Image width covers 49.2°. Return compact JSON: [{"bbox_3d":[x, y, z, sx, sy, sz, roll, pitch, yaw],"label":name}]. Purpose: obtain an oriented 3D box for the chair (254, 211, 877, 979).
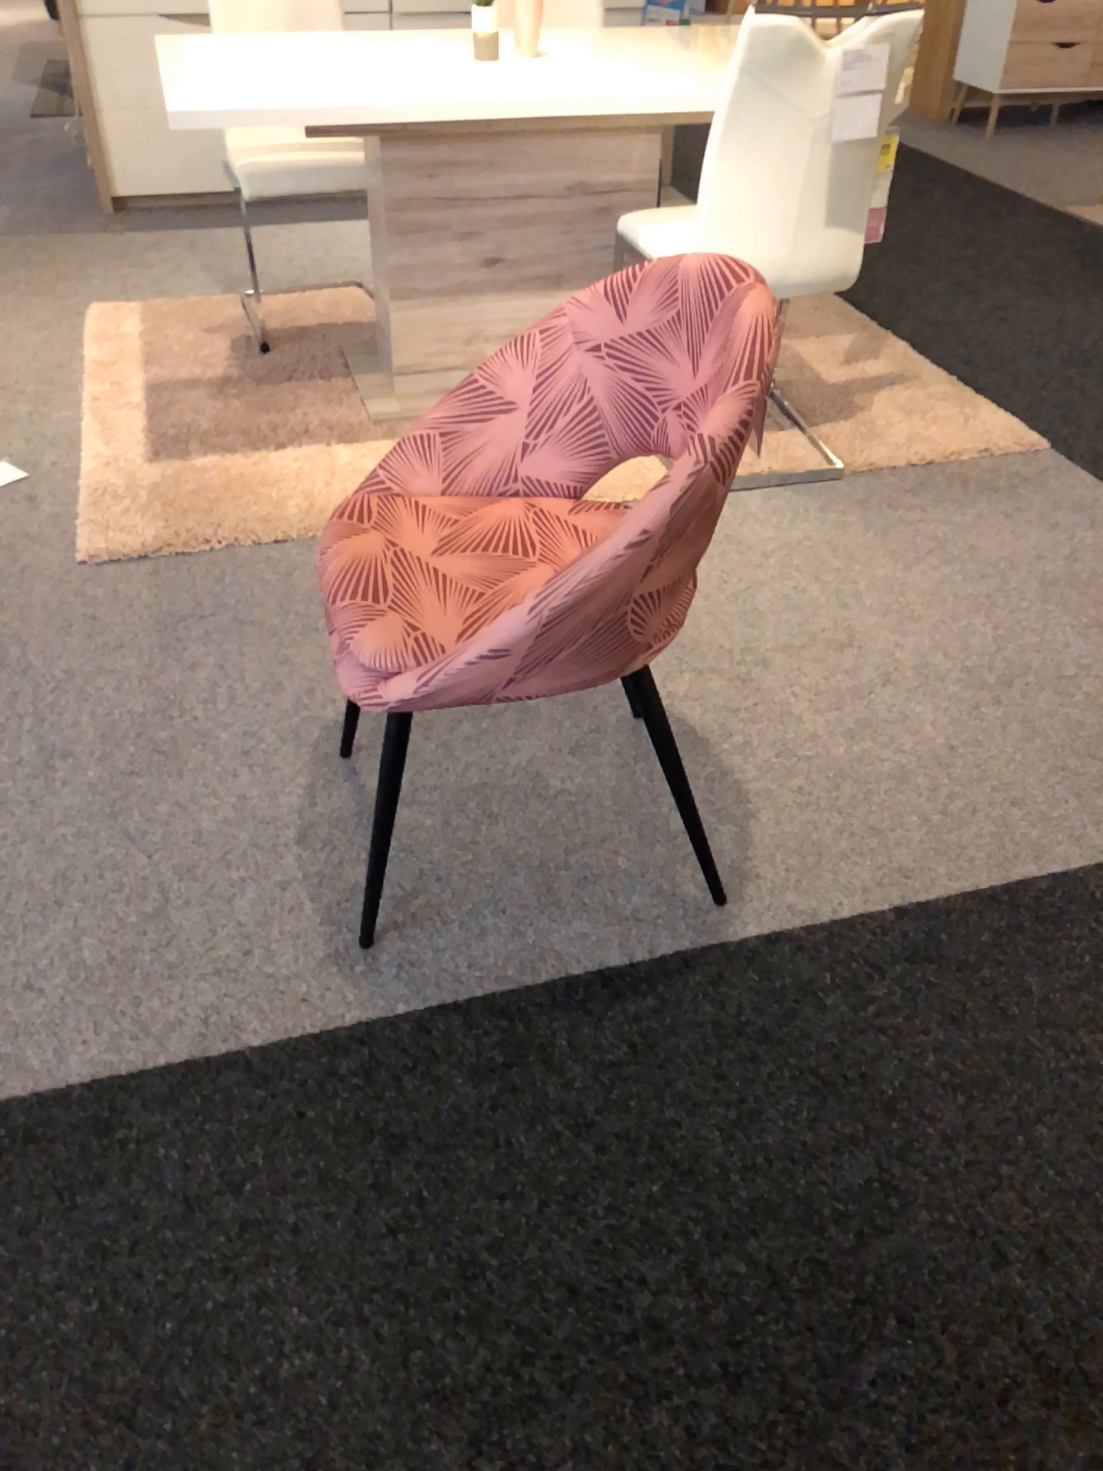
[{"bbox_3d":[-0.031,-0.192,1.583,0.601,0.795,0.533,-6,37,-10],"label":"chair"}]
